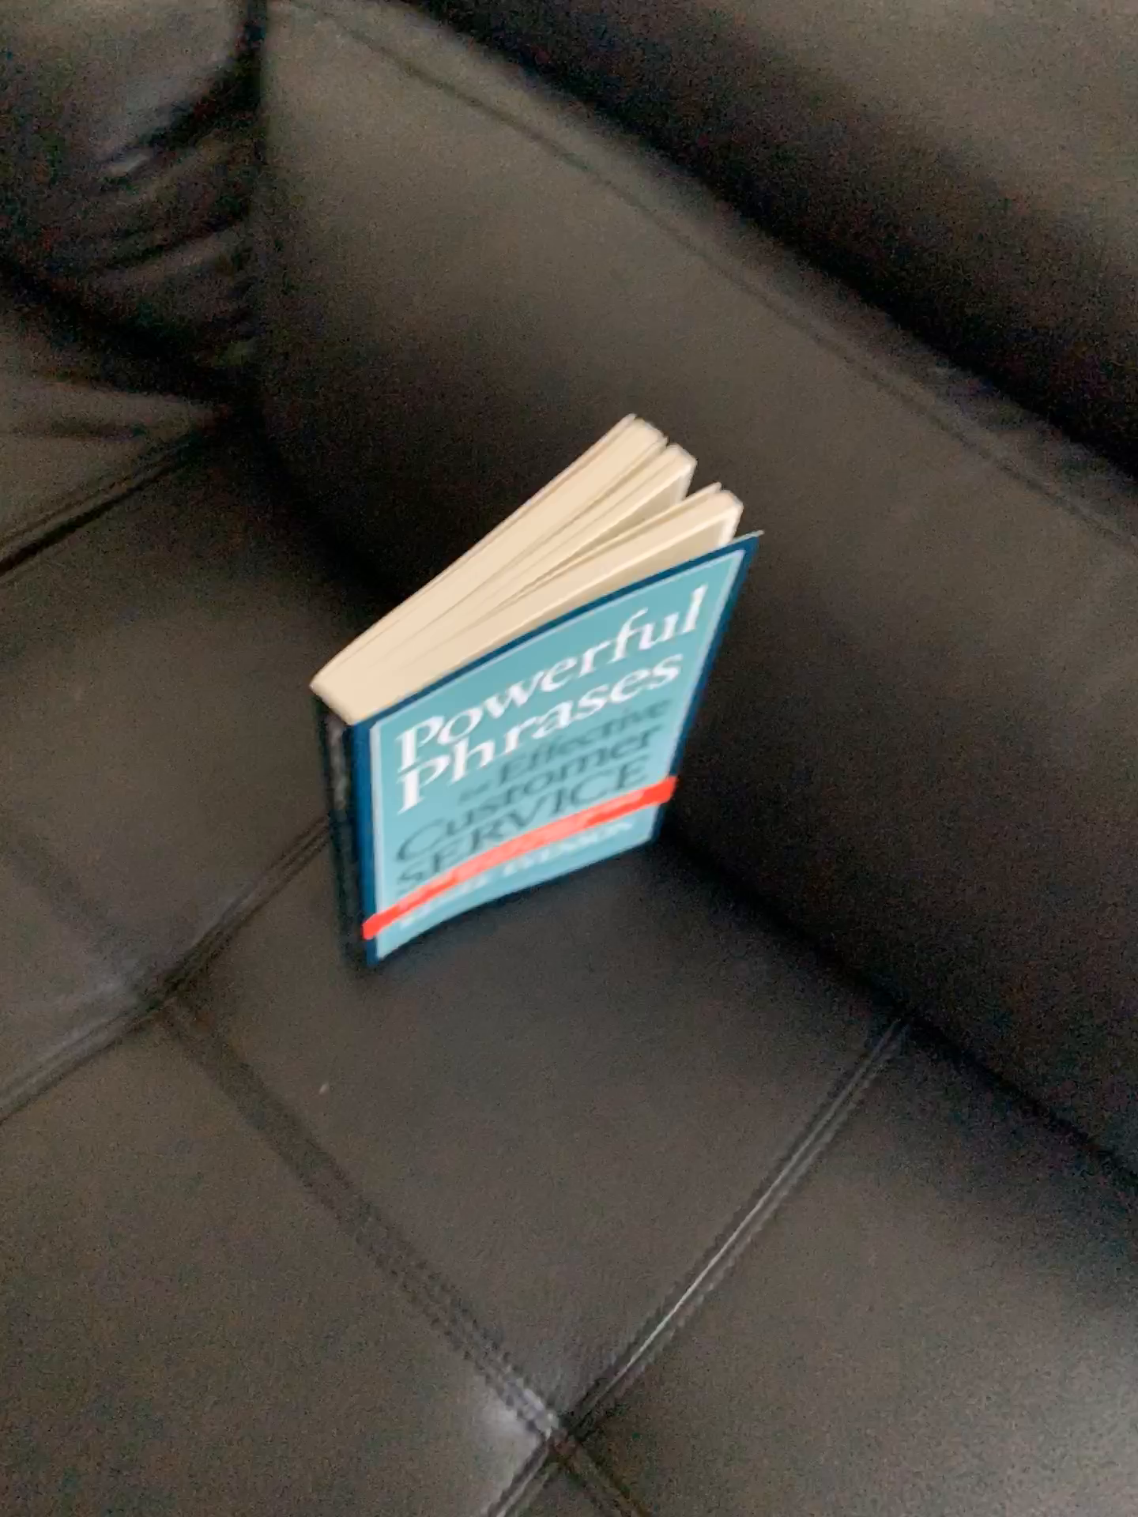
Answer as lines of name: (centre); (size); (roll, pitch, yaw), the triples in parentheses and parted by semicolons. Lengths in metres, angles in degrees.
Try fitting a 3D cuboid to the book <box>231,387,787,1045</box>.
book: (-0.026, 0.001, 0.481); (0.162, 0.247, 0.082); (-38, 72, -23)
